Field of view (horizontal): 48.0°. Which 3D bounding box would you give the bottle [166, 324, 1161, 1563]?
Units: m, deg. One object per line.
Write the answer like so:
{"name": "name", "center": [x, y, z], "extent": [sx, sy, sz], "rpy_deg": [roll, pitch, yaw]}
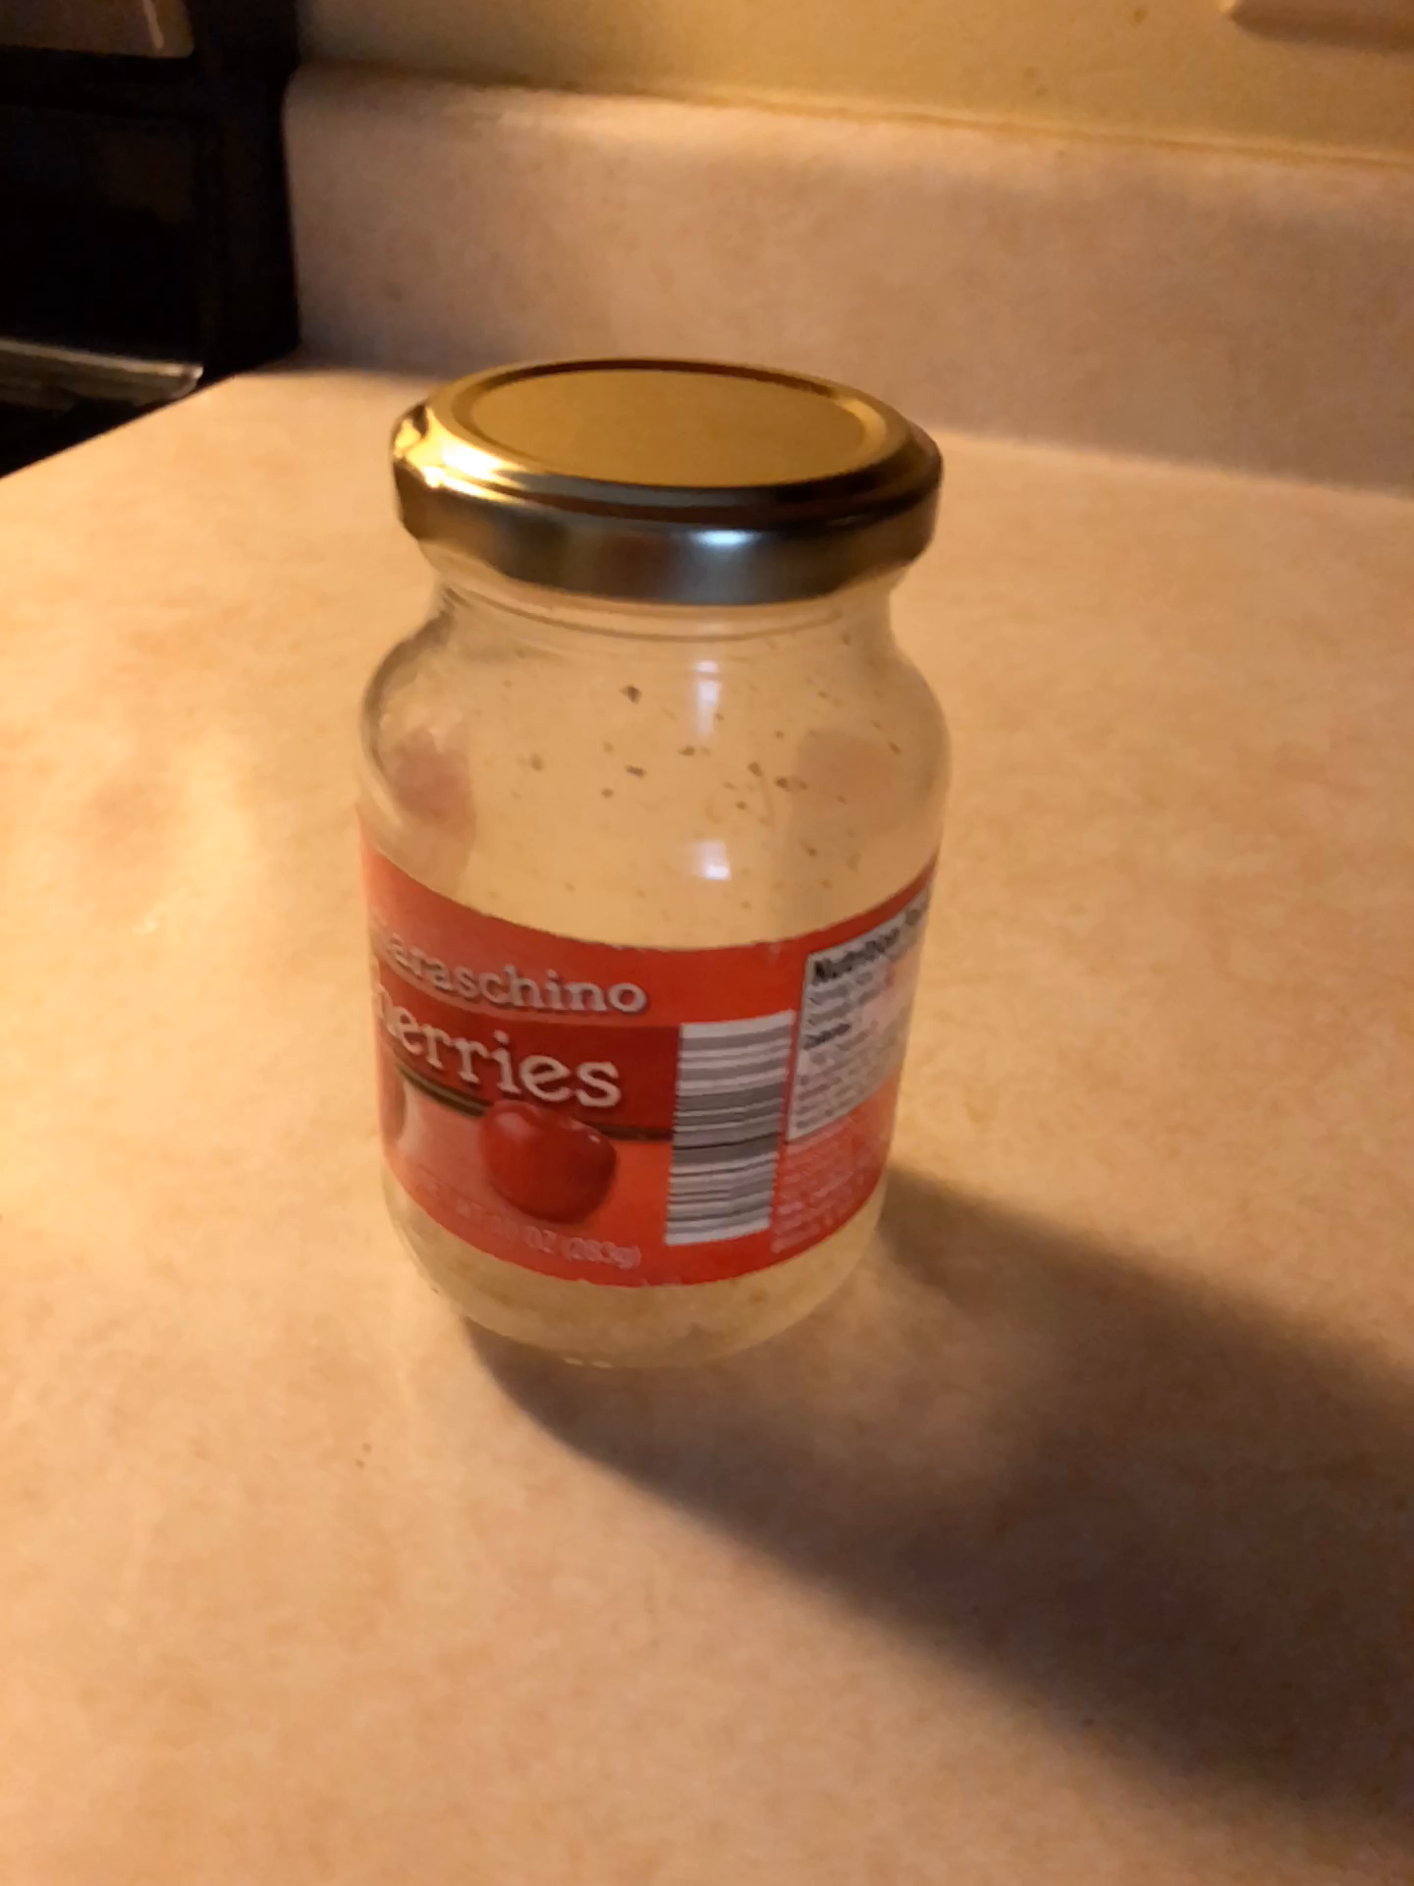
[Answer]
{"name": "bottle", "center": [-0.006, -0.005, 0.187], "extent": [0.070, 0.110, 0.070], "rpy_deg": [3, 32, -2]}
